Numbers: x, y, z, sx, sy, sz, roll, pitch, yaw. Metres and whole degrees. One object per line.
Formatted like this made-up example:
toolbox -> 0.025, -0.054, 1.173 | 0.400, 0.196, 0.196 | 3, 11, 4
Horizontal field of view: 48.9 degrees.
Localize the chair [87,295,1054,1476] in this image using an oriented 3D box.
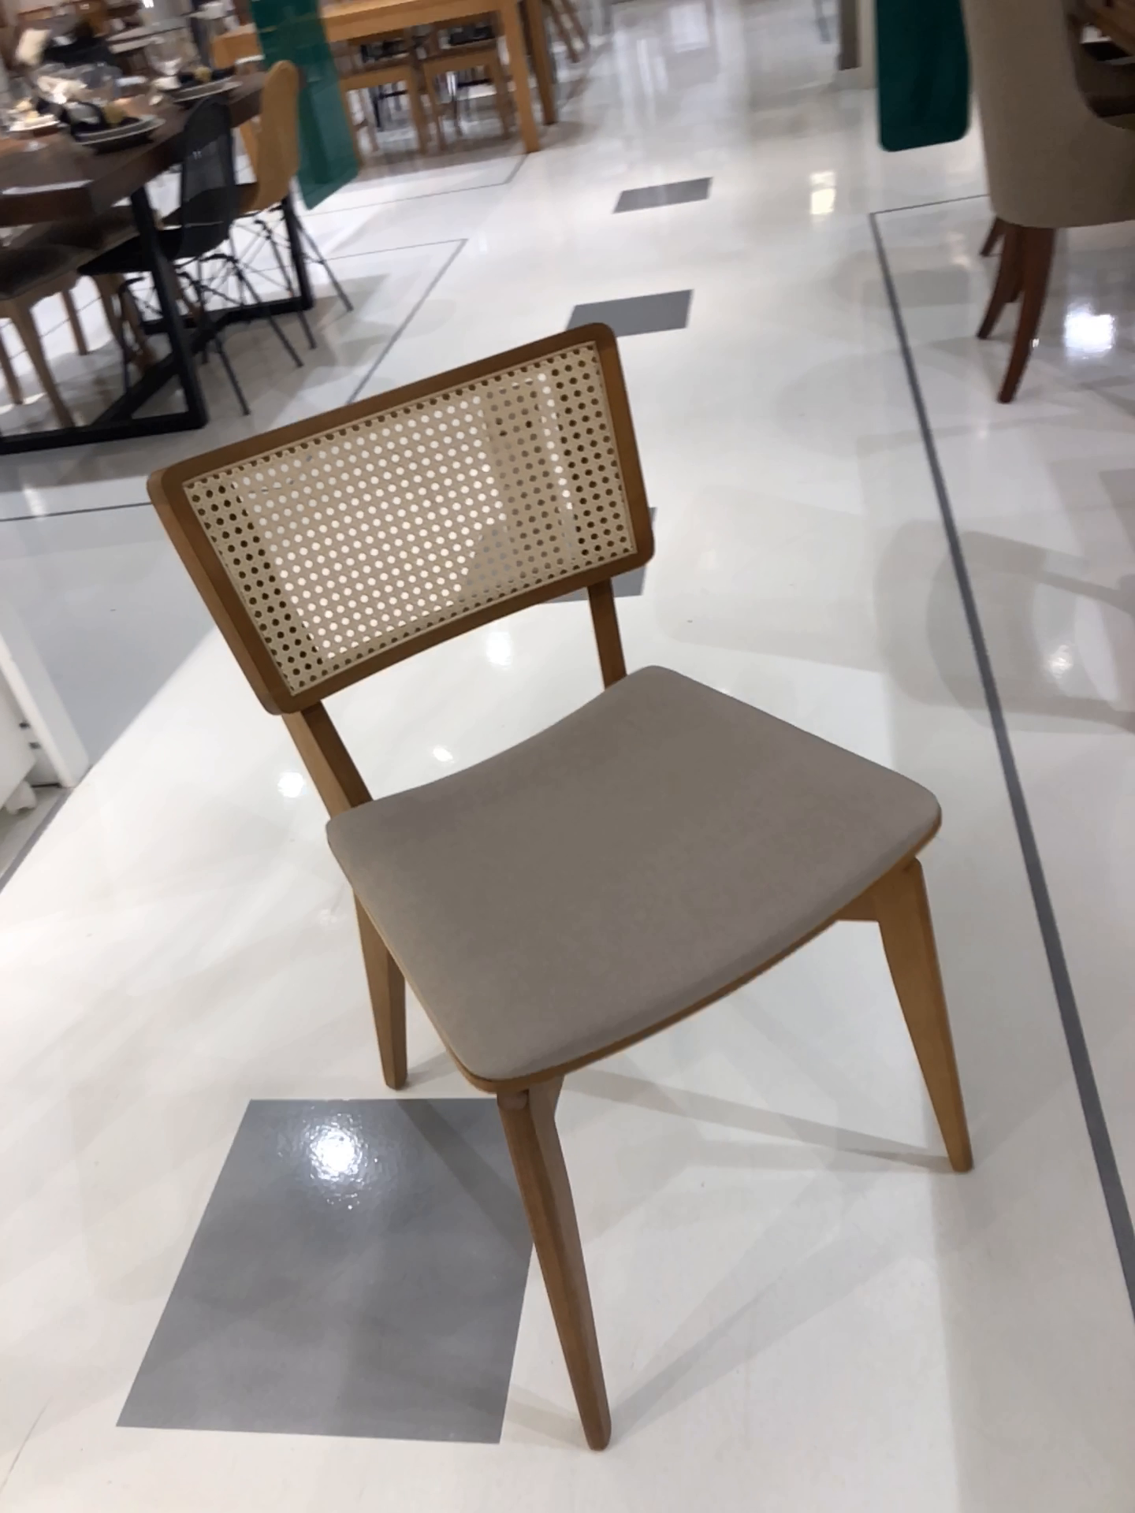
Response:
chair -> 0.018, 0.079, 1.206 | 0.541, 0.794, 0.603 | -26, 37, -20
